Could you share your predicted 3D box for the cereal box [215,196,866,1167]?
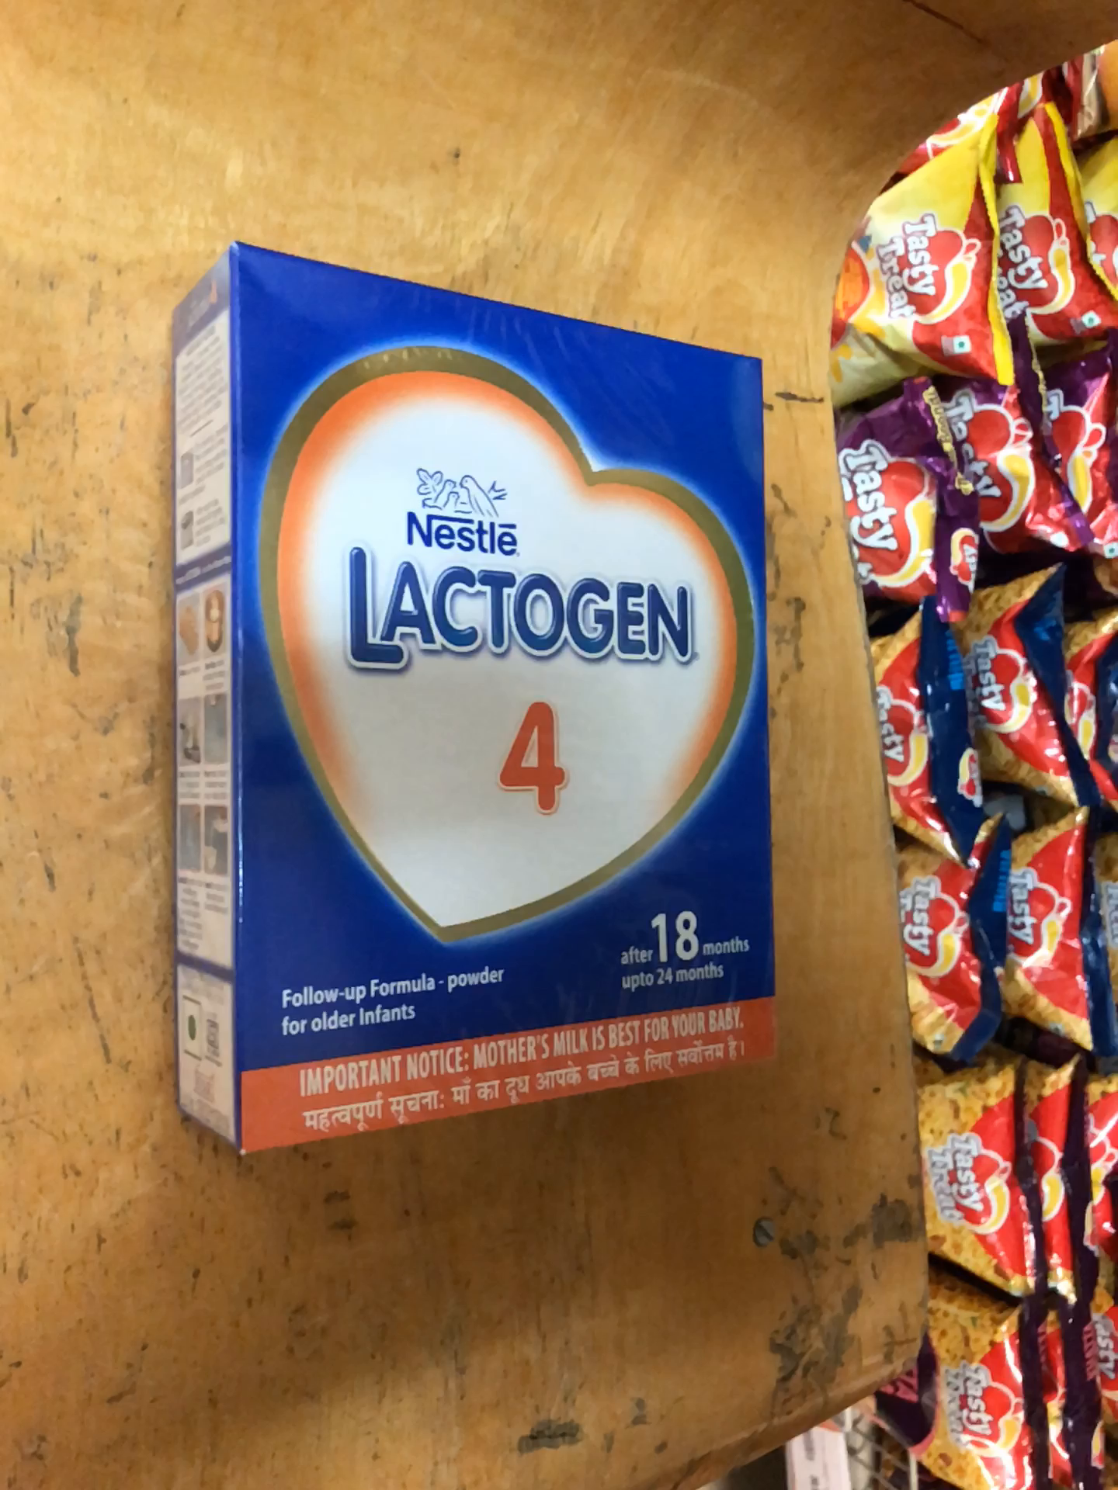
[{"bbox_3d":[-0.001,-0.013,0.309,0.151,0.060,0.190,-1,89,-33],"label":"cereal box"}]
